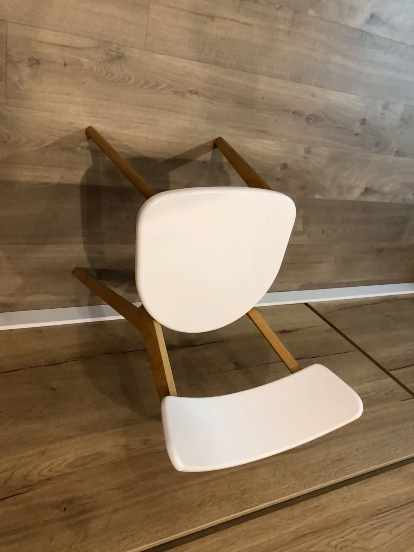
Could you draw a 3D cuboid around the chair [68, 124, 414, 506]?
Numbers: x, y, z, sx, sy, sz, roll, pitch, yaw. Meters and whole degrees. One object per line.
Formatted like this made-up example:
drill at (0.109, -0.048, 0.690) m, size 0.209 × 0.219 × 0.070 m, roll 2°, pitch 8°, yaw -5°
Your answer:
chair at (-0.013, -0.017, 1.162) m, size 0.501 × 0.827 × 0.531 m, roll -6°, pitch 121°, yaw -27°
